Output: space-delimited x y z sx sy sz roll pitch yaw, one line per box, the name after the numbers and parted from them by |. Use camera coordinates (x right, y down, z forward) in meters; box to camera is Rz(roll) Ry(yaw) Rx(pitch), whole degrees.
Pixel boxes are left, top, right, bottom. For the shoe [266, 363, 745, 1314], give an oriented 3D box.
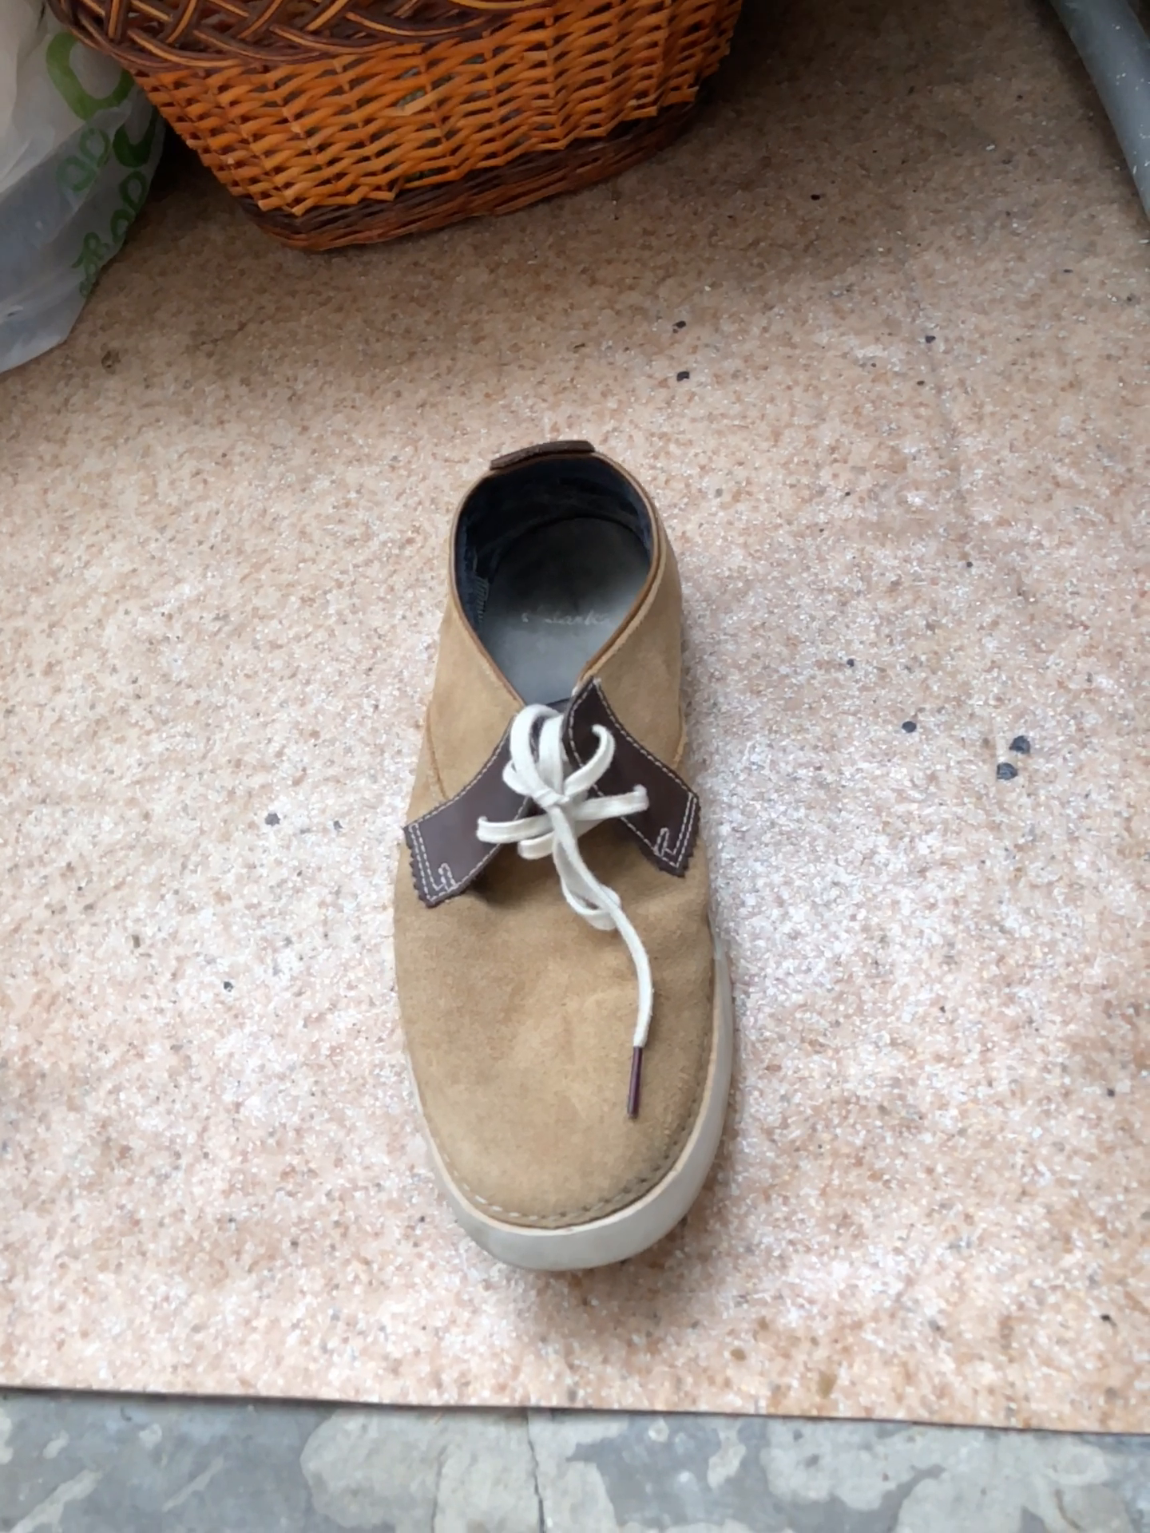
-0.011 0.013 0.419 0.110 0.090 0.301 -6 58 11 | shoe
